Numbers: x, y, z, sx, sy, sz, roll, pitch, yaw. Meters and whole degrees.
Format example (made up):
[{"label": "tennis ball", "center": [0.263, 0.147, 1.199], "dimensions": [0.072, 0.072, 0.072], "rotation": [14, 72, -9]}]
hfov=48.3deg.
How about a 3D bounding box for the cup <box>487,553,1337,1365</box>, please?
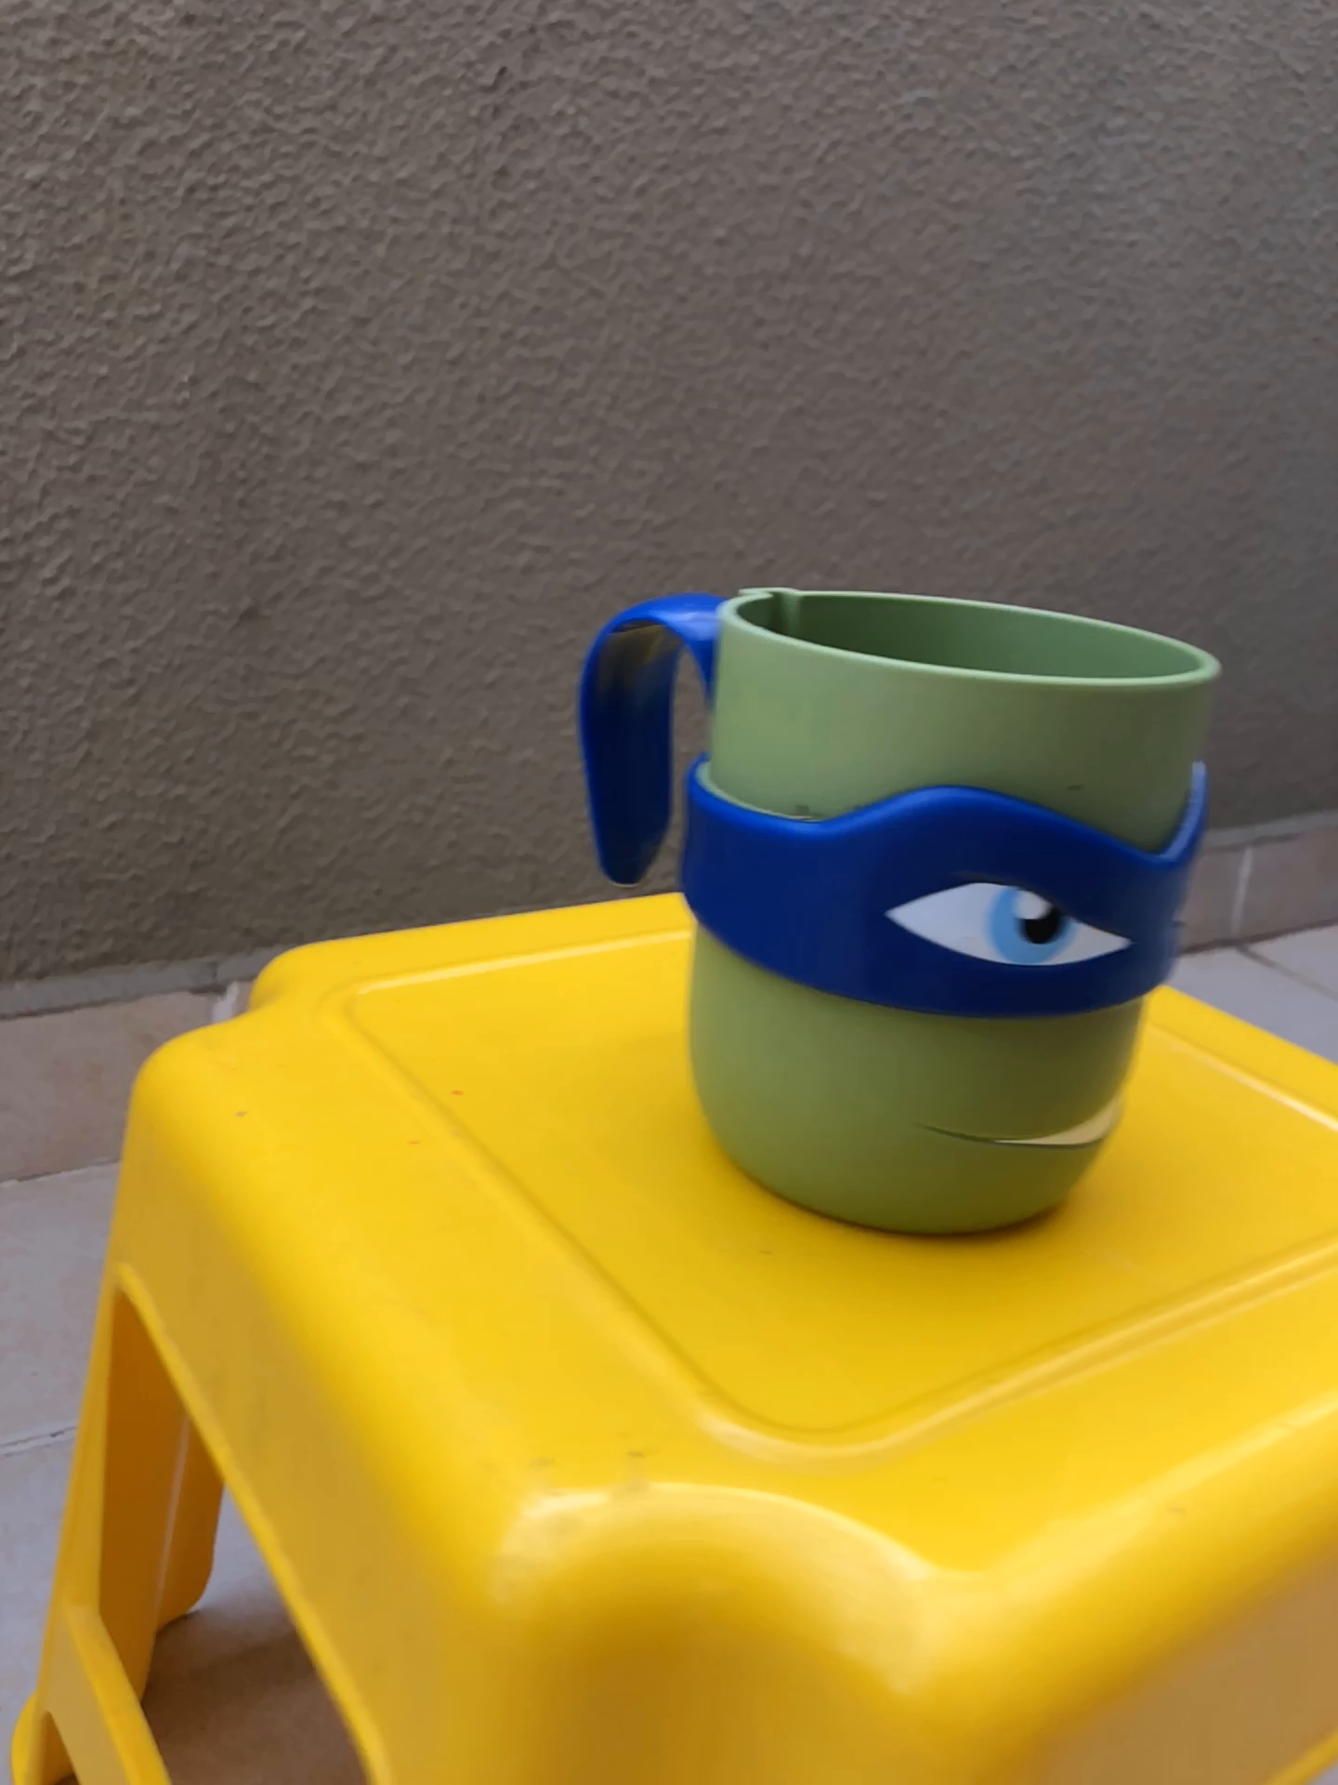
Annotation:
[{"label": "cup", "center": [0.037, -0.002, 0.249], "dimensions": [0.080, 0.090, 0.110], "rotation": [-14, 26, -43]}]
